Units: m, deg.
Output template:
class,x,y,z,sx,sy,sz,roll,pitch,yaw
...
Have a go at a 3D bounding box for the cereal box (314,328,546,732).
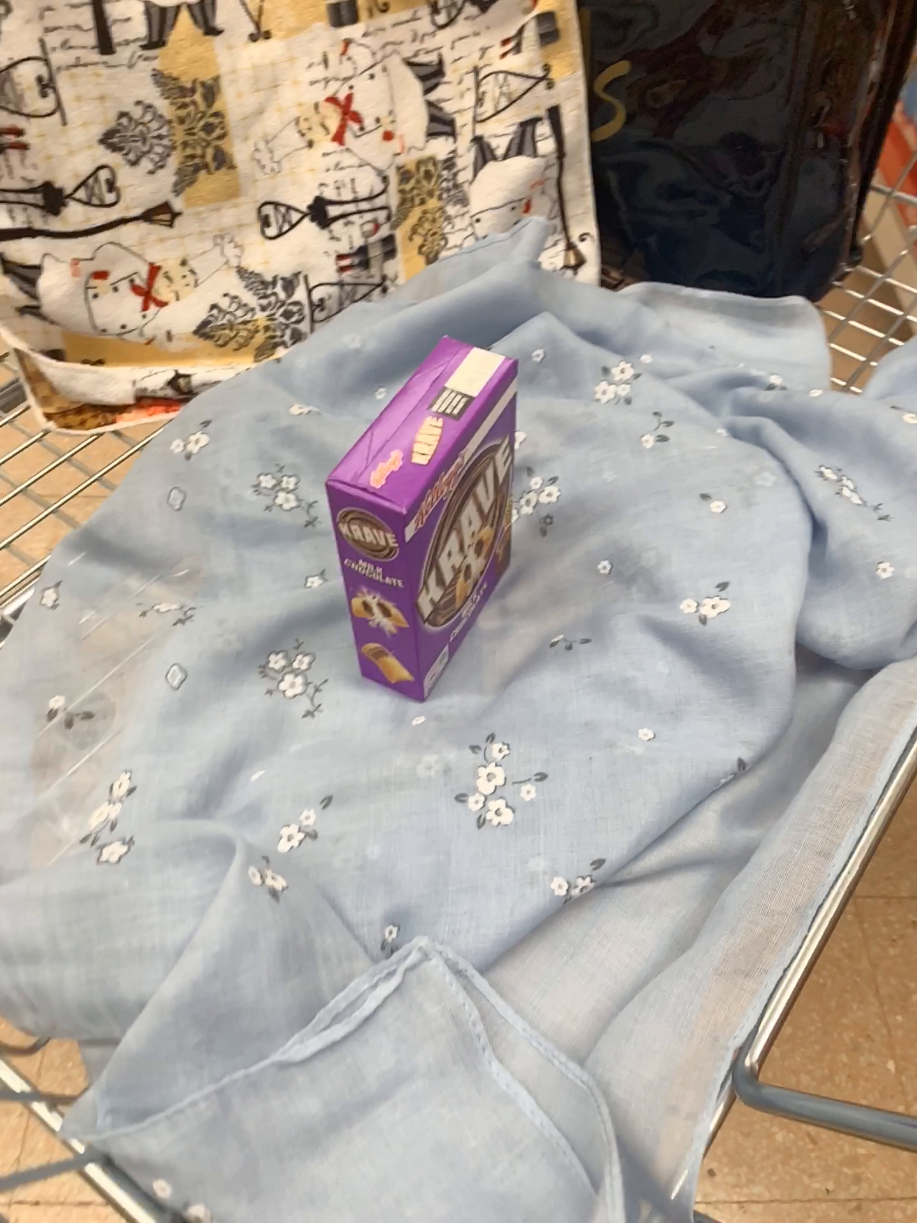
class,x,y,z,sx,sy,sz,roll,pitch,yaw
cereal box,-0.006,-0.028,0.373,0.040,0.129,0.091,23,57,18
